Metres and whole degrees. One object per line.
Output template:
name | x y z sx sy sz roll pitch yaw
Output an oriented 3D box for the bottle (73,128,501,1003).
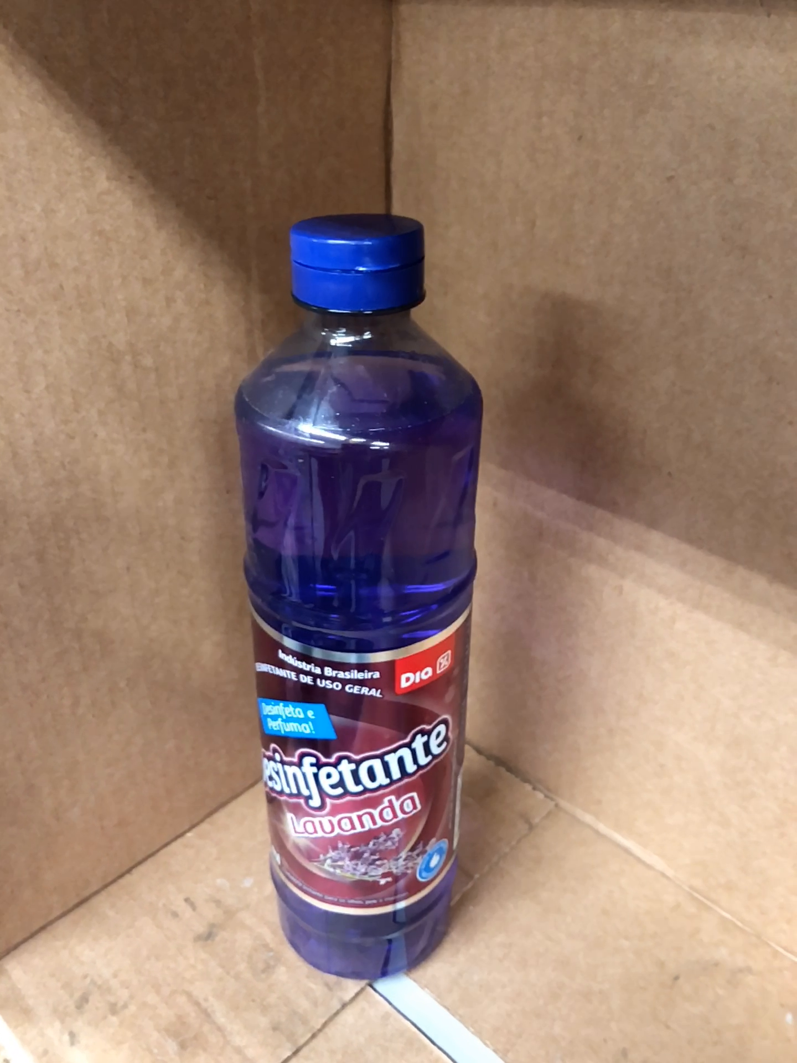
bottle | -0.017 0.023 0.251 0.070 0.238 0.071 0 32 0
